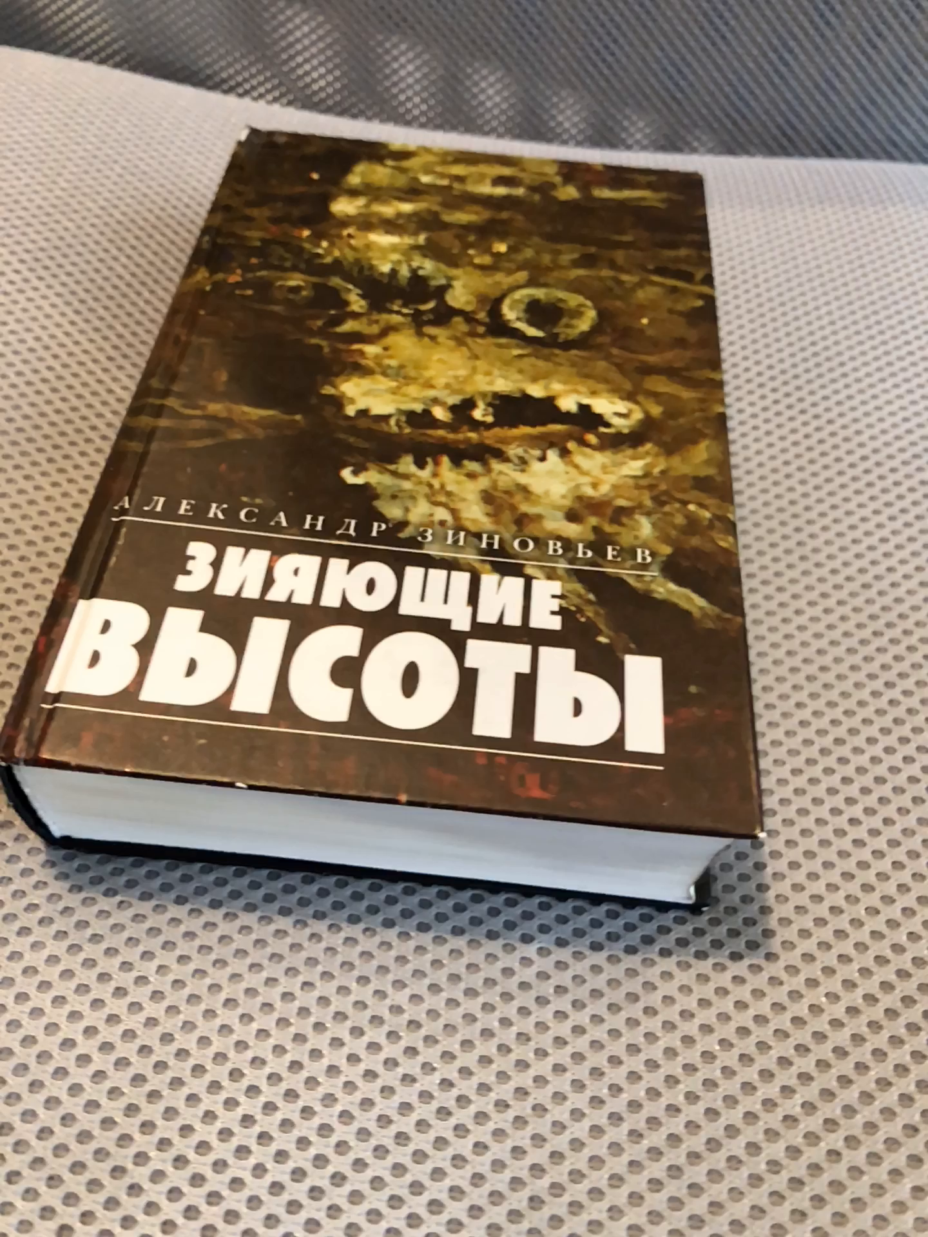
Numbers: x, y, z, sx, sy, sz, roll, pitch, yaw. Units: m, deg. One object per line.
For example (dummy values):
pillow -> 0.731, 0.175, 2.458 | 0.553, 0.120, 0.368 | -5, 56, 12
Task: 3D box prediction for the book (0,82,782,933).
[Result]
book -> -0.011, -0.037, 0.235 | 0.140, 0.040, 0.191 | 6, 60, -1
